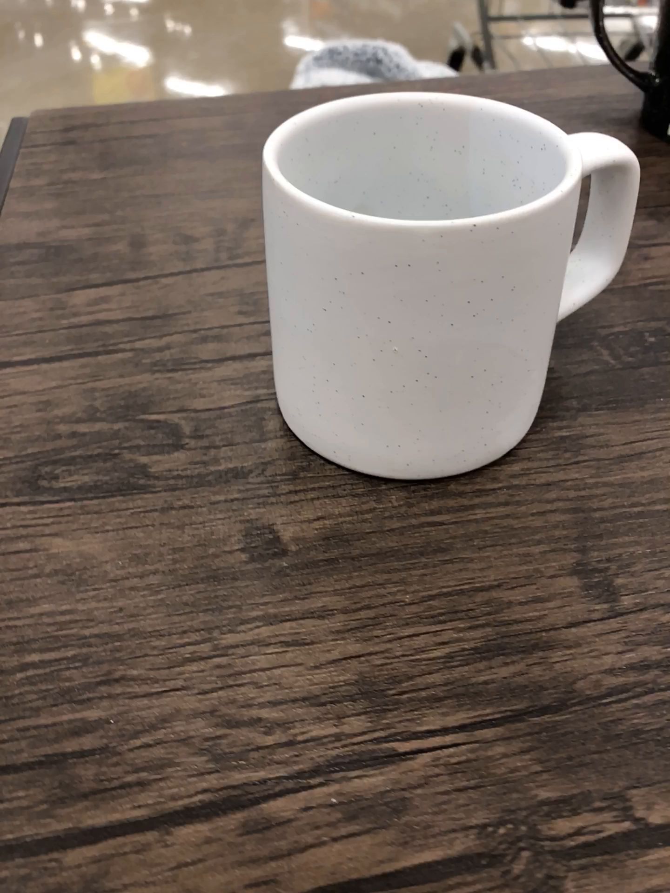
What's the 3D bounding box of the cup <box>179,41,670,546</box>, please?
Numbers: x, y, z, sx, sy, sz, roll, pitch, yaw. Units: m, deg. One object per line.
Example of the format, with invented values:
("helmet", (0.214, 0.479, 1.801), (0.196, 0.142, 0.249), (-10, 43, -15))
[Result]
("cup", (0.034, -0.055, 0.244), (0.130, 0.100, 0.090), (-20, 47, -18))
